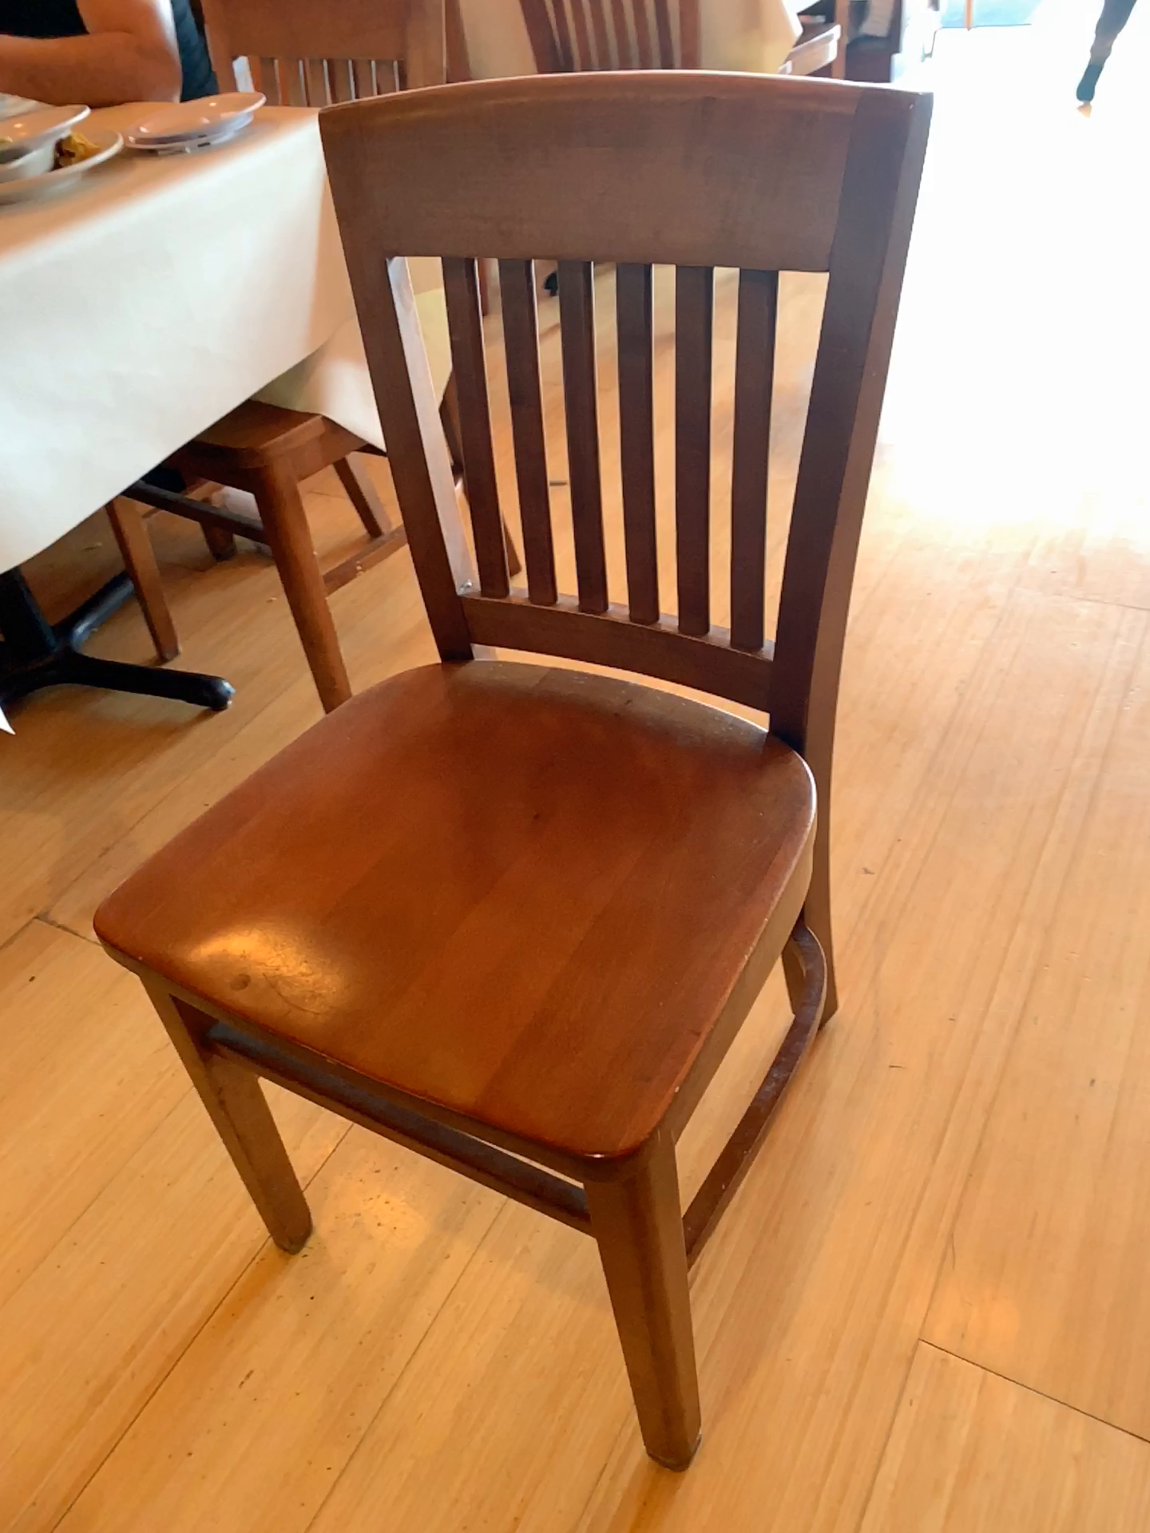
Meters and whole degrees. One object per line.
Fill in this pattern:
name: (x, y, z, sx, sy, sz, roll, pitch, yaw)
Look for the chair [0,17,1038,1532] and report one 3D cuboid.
chair: (-0.042, 0.006, 0.905, 0.541, 0.875, 0.572, 14, 45, 27)
